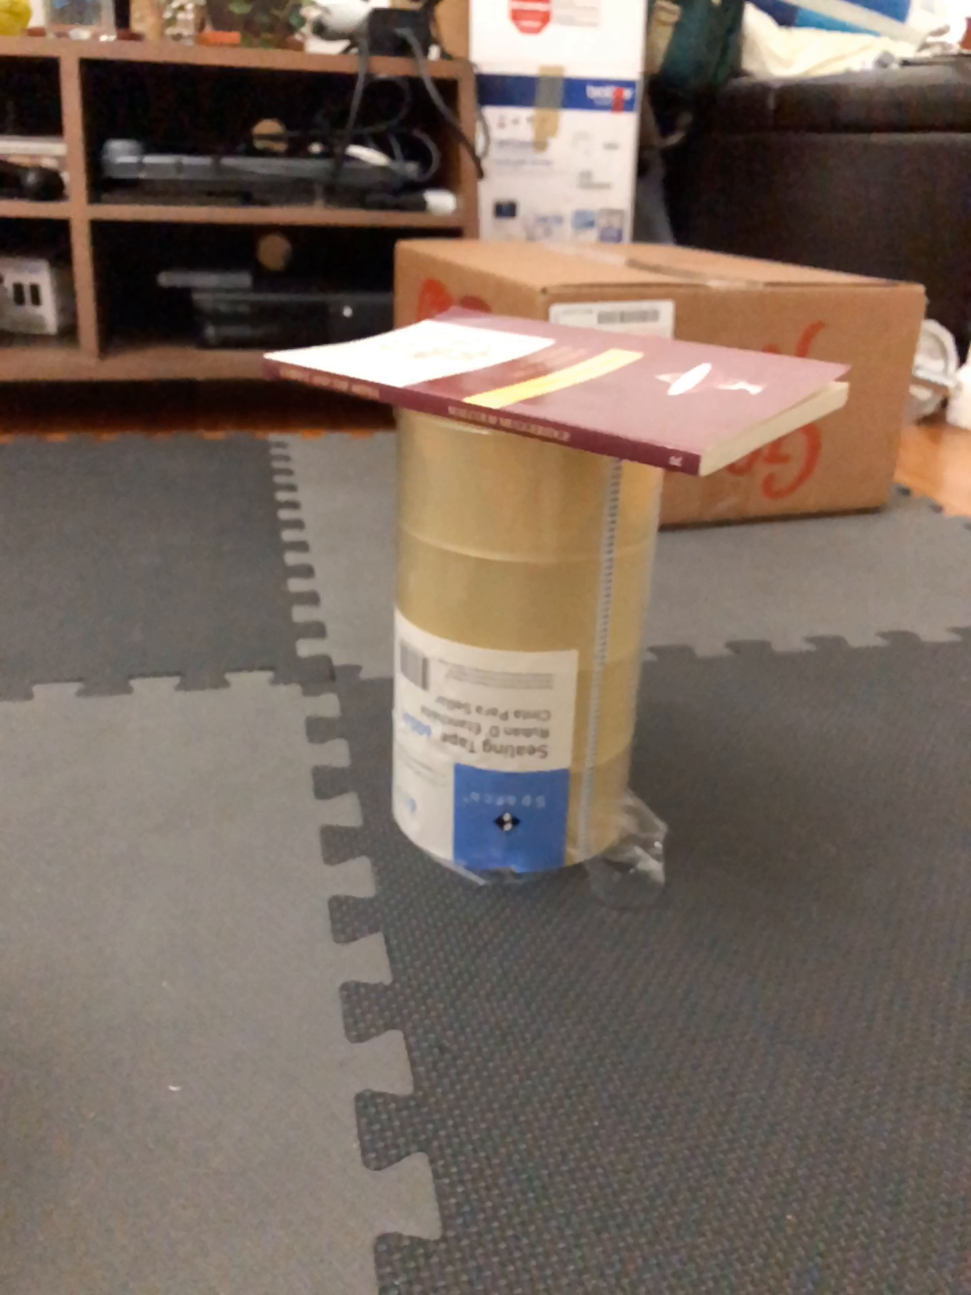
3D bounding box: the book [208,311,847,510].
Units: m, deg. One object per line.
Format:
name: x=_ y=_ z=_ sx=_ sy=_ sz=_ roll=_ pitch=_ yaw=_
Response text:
book: x=0.016 y=-0.104 z=0.430 sx=0.210 sy=0.020 sz=0.141 roll=19 pitch=30 yaw=30
